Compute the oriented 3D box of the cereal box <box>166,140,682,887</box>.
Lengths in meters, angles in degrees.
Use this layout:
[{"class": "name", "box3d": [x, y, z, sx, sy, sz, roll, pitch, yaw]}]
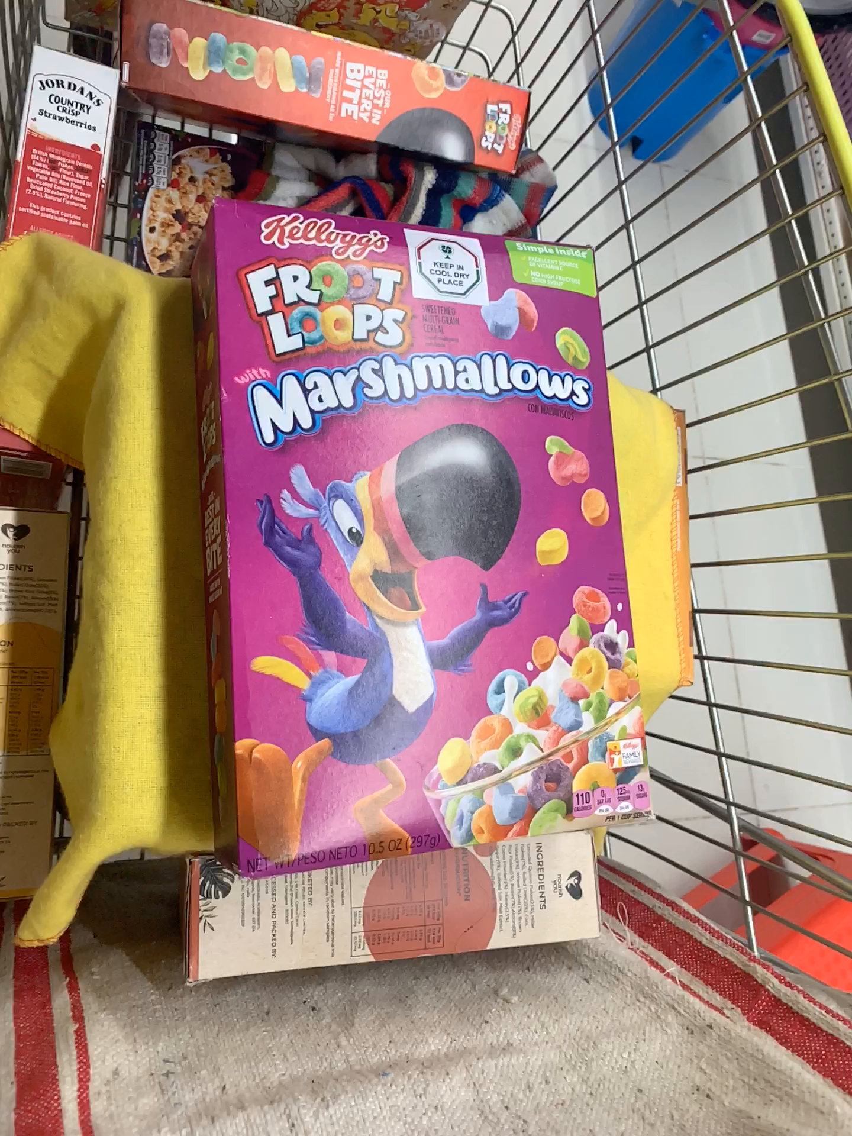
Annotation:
[{"class": "cereal box", "box3d": [-0.006, -0.023, 0.376, 0.190, 0.070, 0.270, -1, 80, -22]}]
